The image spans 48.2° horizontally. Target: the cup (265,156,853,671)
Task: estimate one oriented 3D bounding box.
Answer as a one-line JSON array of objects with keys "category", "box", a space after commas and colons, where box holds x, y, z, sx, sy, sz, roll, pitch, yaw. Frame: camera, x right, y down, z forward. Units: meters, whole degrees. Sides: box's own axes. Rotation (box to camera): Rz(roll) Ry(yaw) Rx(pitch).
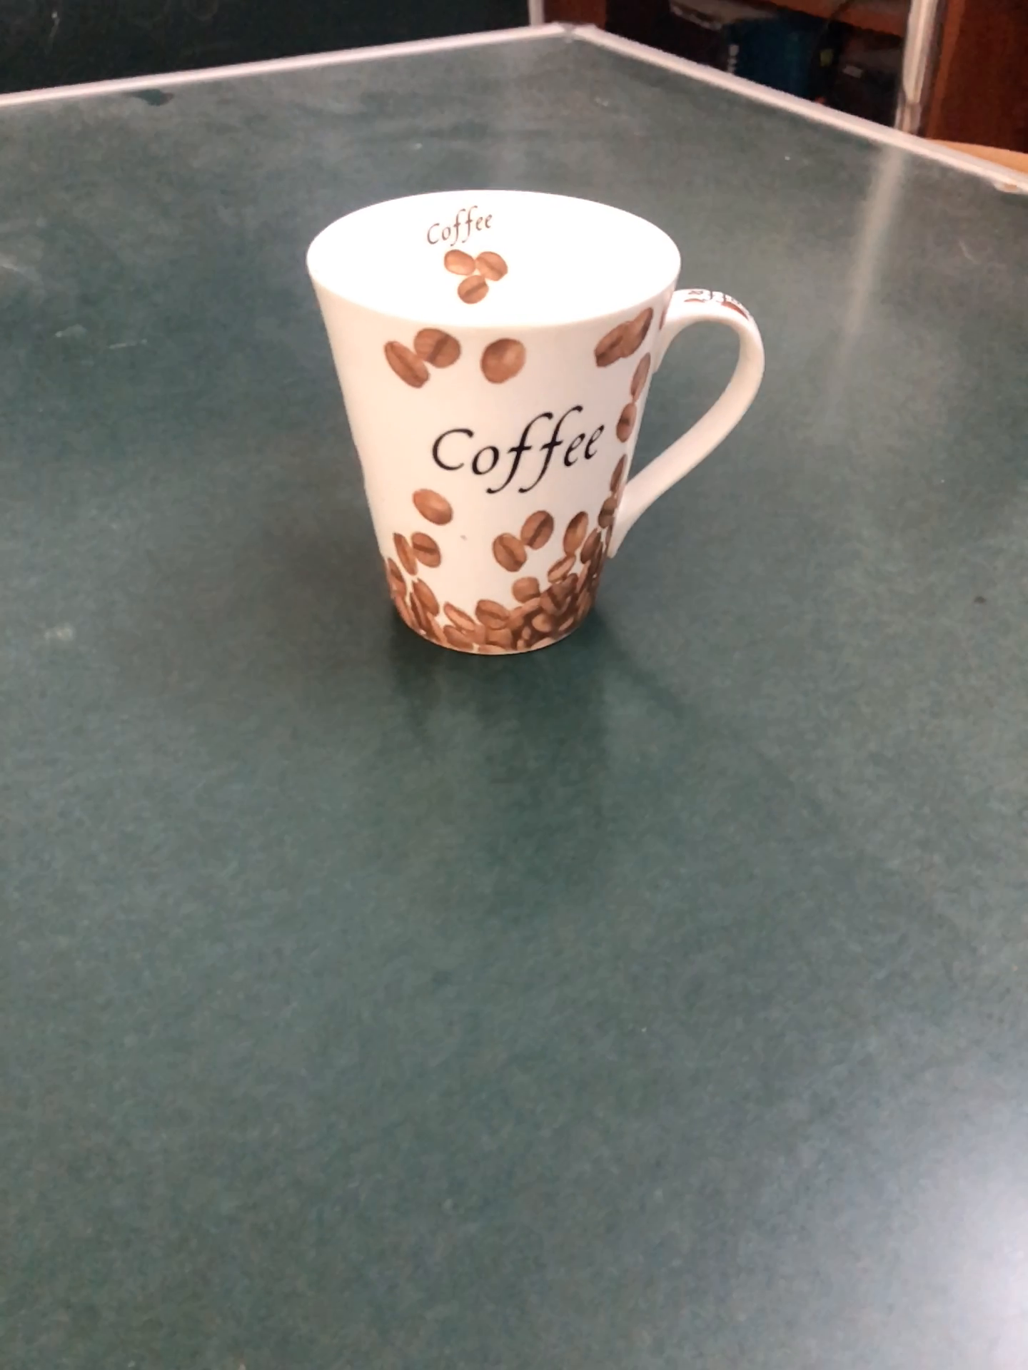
[{"category": "cup", "box": [0.005, -0.074, 0.299, 0.120, 0.090, 0.100, -4, 40, -4]}]
